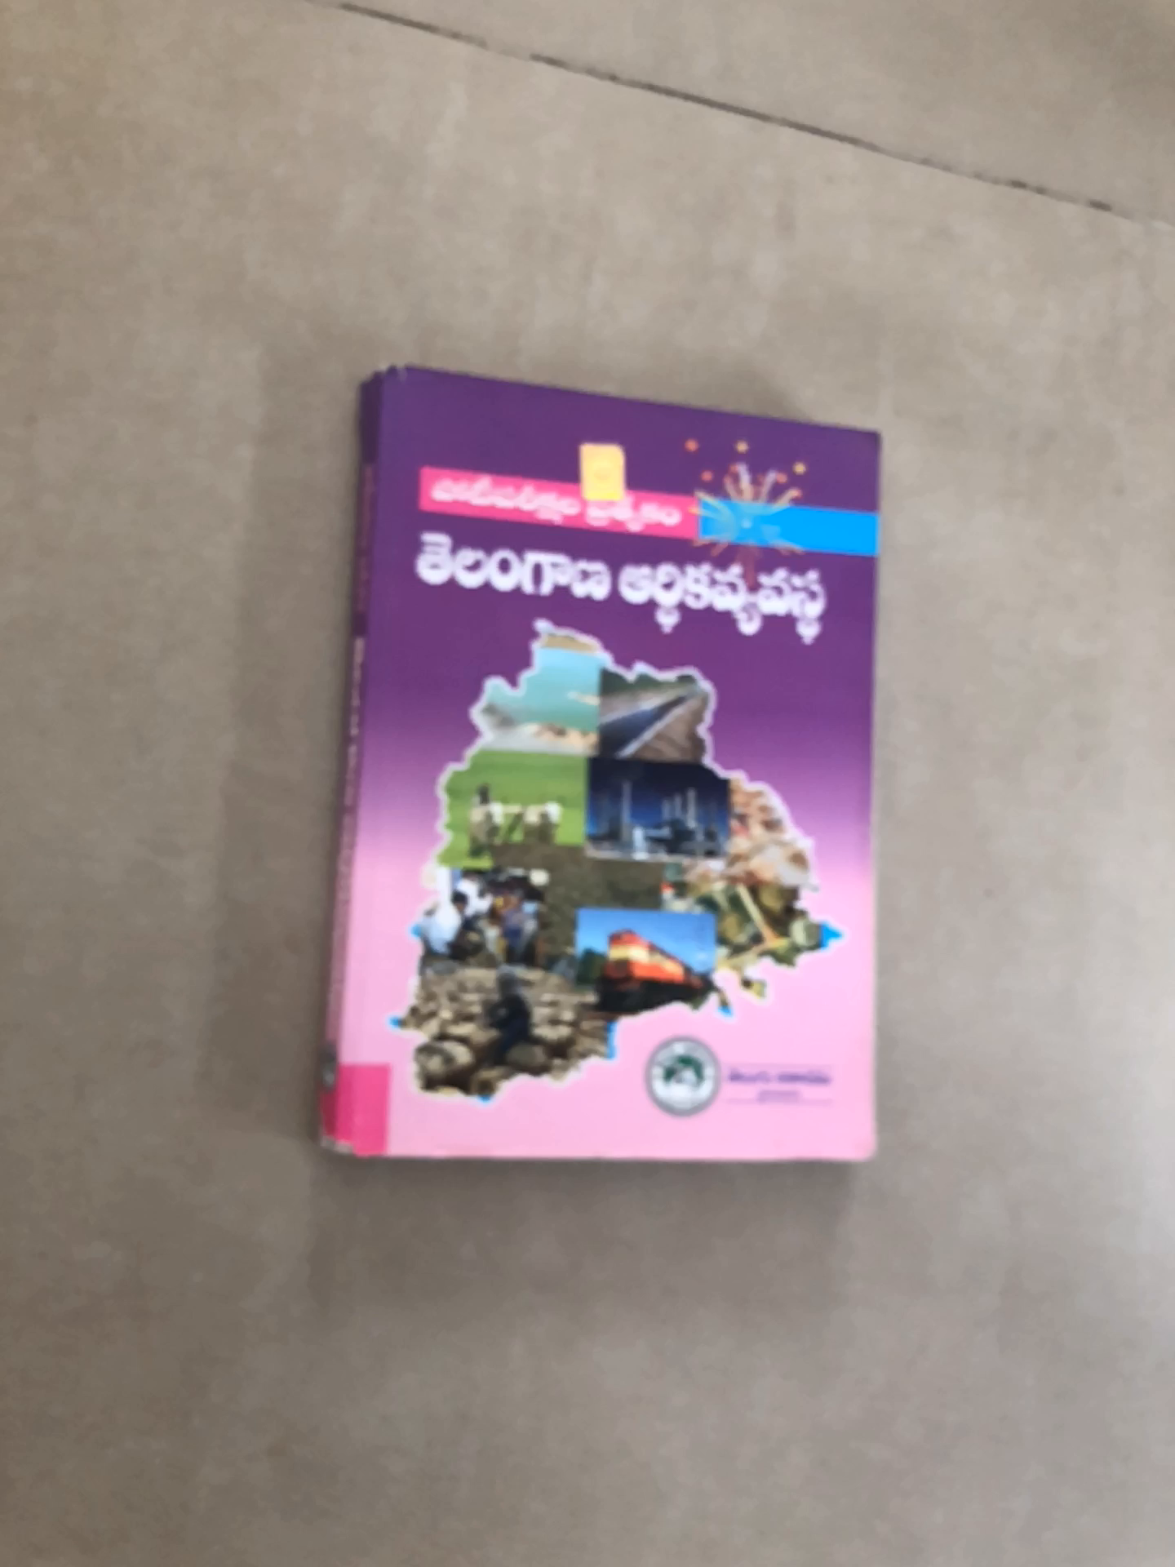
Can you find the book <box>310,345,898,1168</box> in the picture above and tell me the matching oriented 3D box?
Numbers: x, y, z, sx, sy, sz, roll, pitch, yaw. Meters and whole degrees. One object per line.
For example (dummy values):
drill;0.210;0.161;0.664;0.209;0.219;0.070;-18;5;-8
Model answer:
book;0.009;-0.005;0.470;0.191;0.040;0.268;4;85;-13
